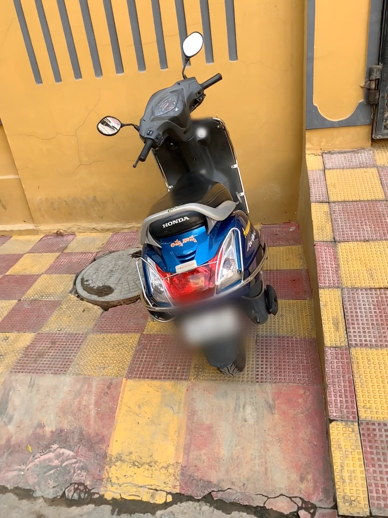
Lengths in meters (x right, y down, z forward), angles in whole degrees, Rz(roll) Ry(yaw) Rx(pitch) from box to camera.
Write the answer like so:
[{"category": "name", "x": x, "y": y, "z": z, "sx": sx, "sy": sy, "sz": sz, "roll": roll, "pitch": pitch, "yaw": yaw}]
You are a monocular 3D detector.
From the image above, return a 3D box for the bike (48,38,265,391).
[{"category": "bike", "x": -0.132, "y": -0.385, "z": 2.015, "sx": 0.596, "sy": 1.098, "sz": 1.534, "roll": -7, "pitch": 32, "yaw": 0}]
